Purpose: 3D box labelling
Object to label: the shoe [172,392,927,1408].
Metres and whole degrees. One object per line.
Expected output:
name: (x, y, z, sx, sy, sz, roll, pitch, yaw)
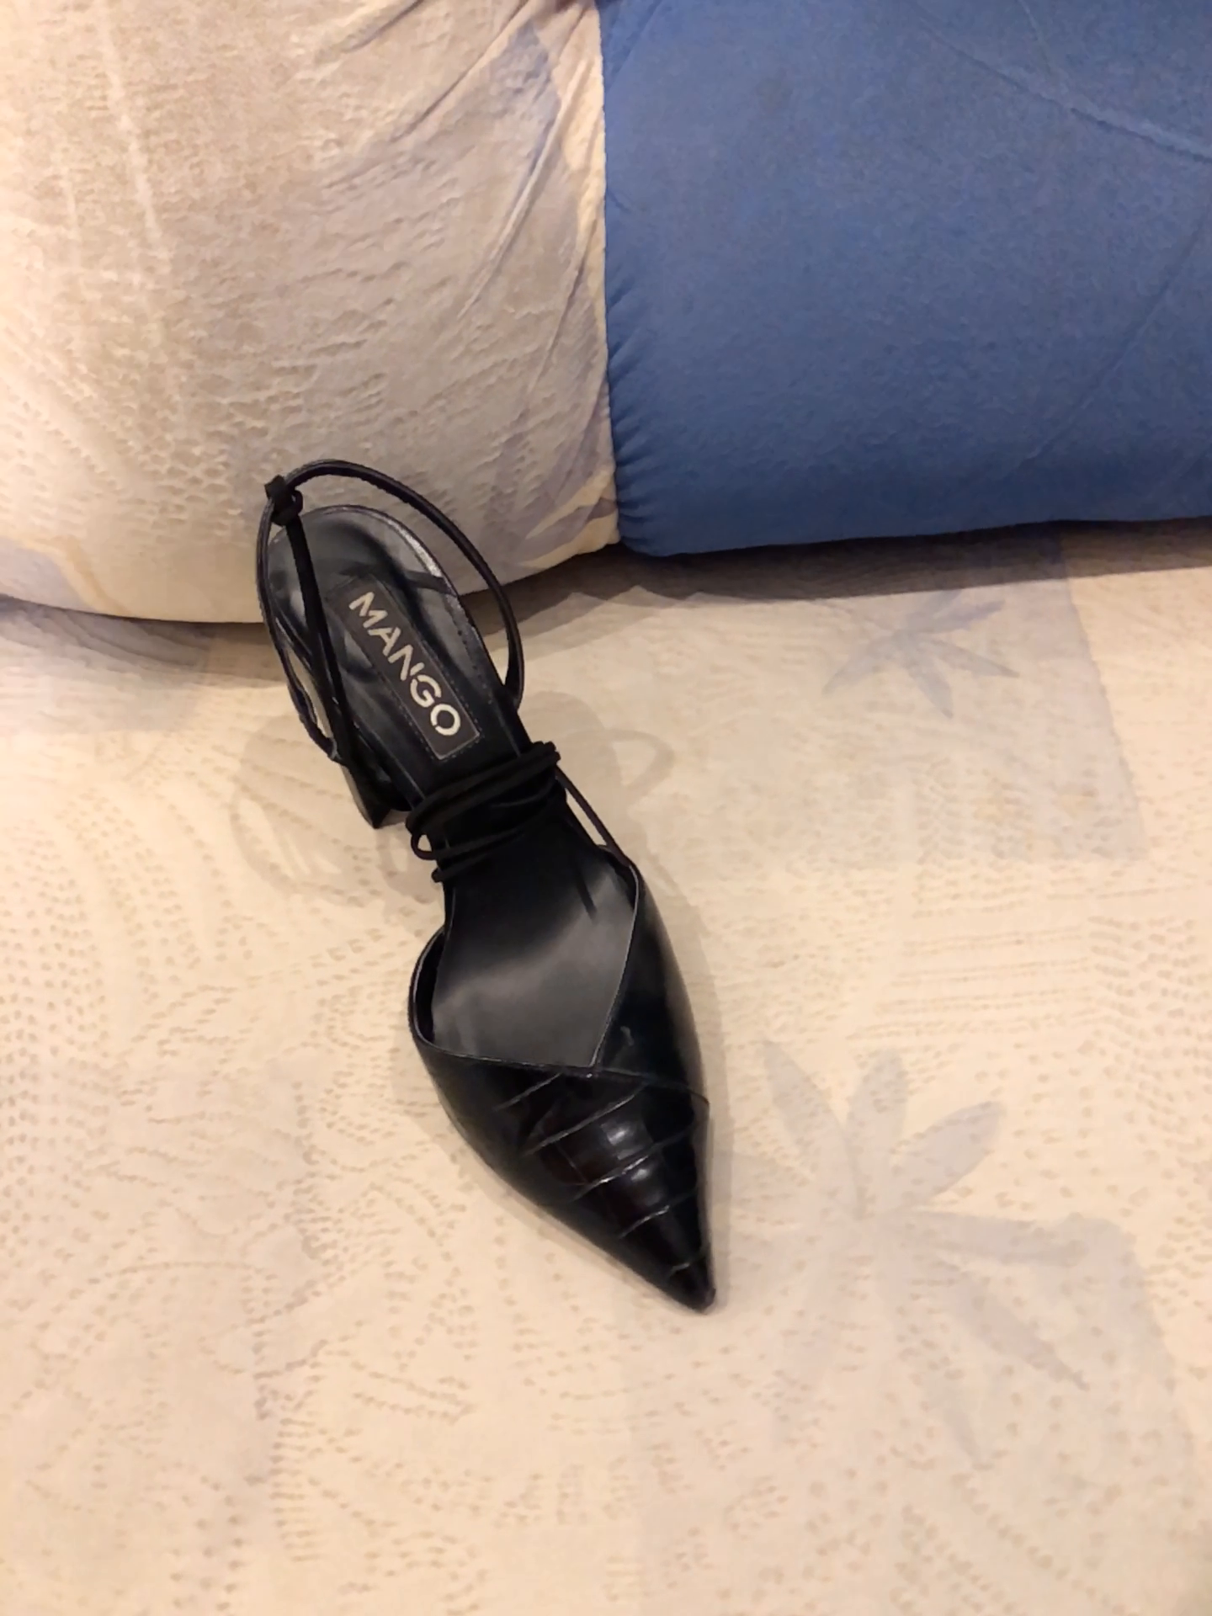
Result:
shoe: (-0.026, 0.014, 0.363, 0.083, 0.119, 0.241, -24, 55, -14)
